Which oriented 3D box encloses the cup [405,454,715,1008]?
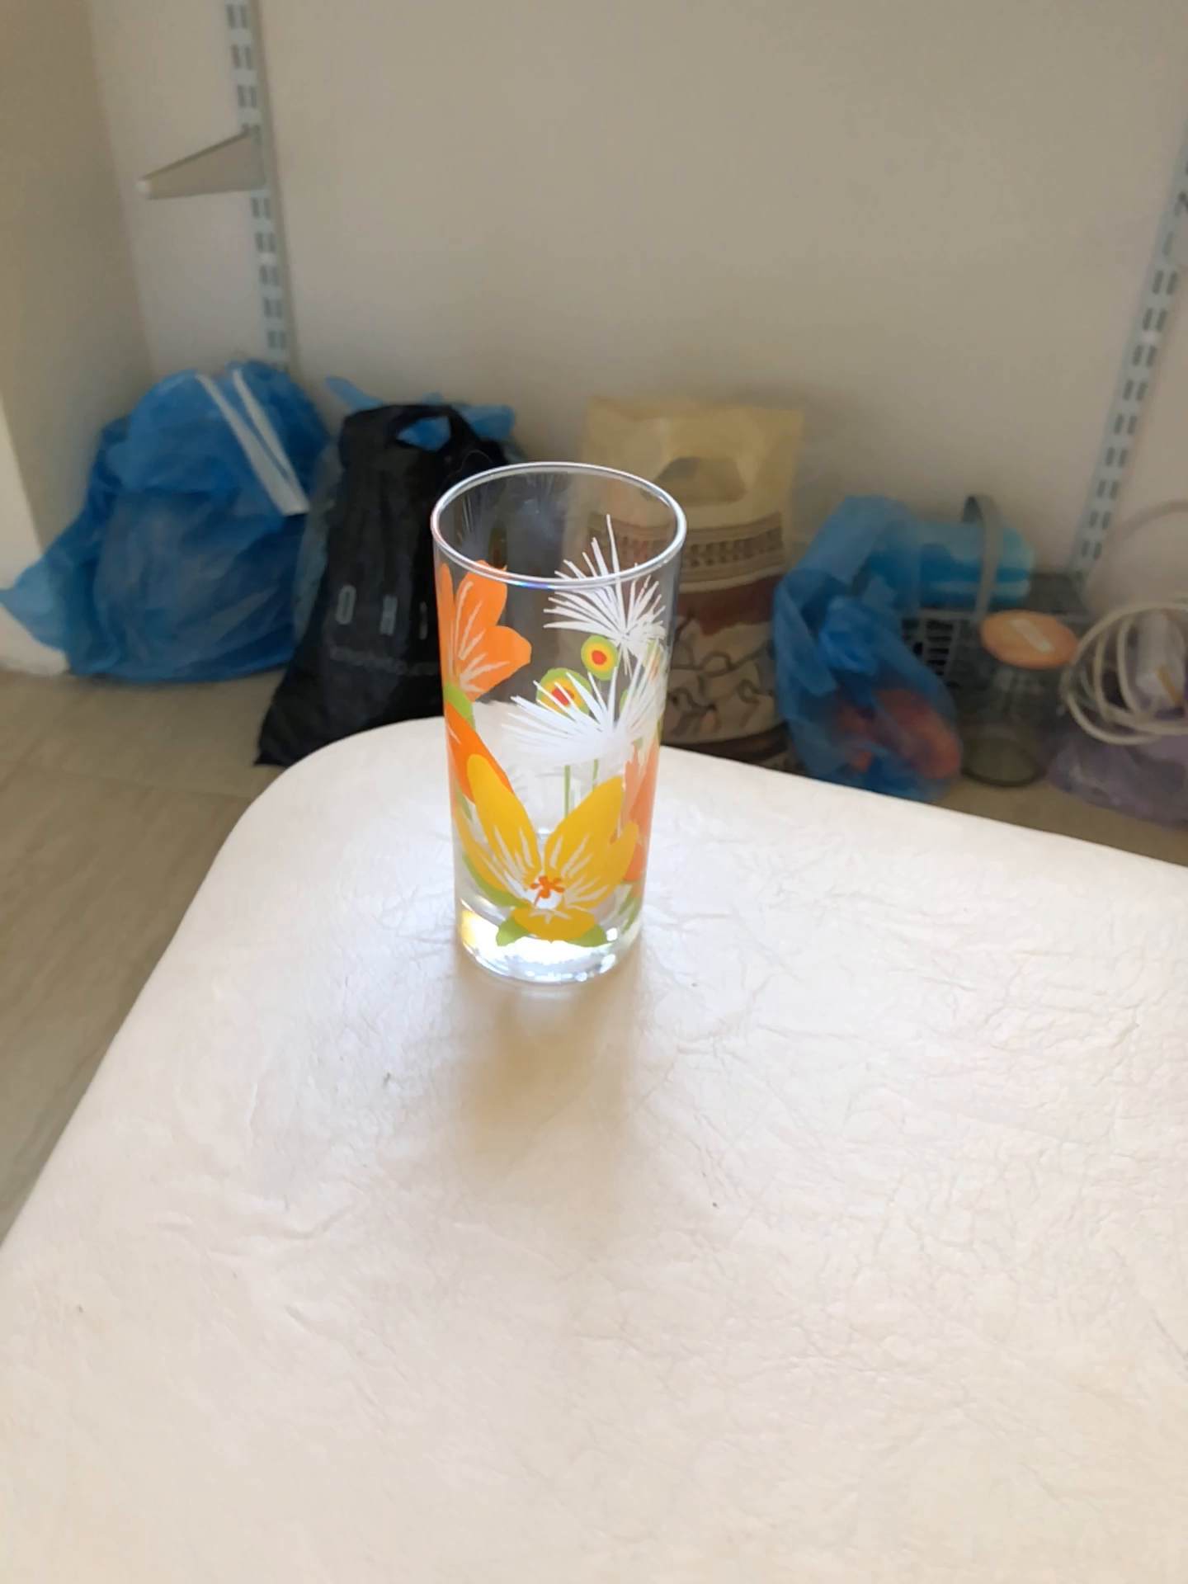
[{"bbox_3d":[-0.012,-0.015,0.360,0.063,0.133,0.061,1,37,-1],"label":"cup"}]
